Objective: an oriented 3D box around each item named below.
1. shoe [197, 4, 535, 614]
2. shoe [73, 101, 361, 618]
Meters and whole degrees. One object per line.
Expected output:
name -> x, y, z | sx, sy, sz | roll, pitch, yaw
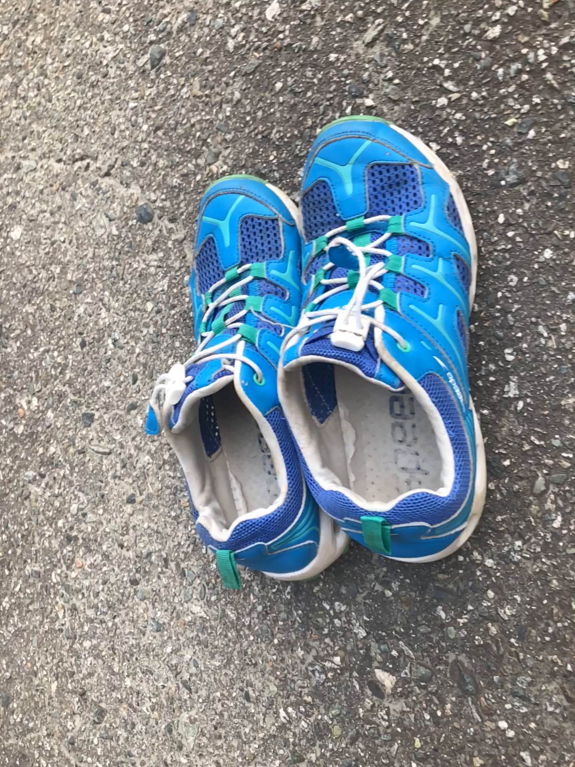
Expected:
shoe -> 0.040, -0.027, 0.317 | 0.100, 0.090, 0.250 | -12, 84, 31
shoe -> -0.042, -0.008, 0.377 | 0.100, 0.090, 0.260 | -12, 84, 31
